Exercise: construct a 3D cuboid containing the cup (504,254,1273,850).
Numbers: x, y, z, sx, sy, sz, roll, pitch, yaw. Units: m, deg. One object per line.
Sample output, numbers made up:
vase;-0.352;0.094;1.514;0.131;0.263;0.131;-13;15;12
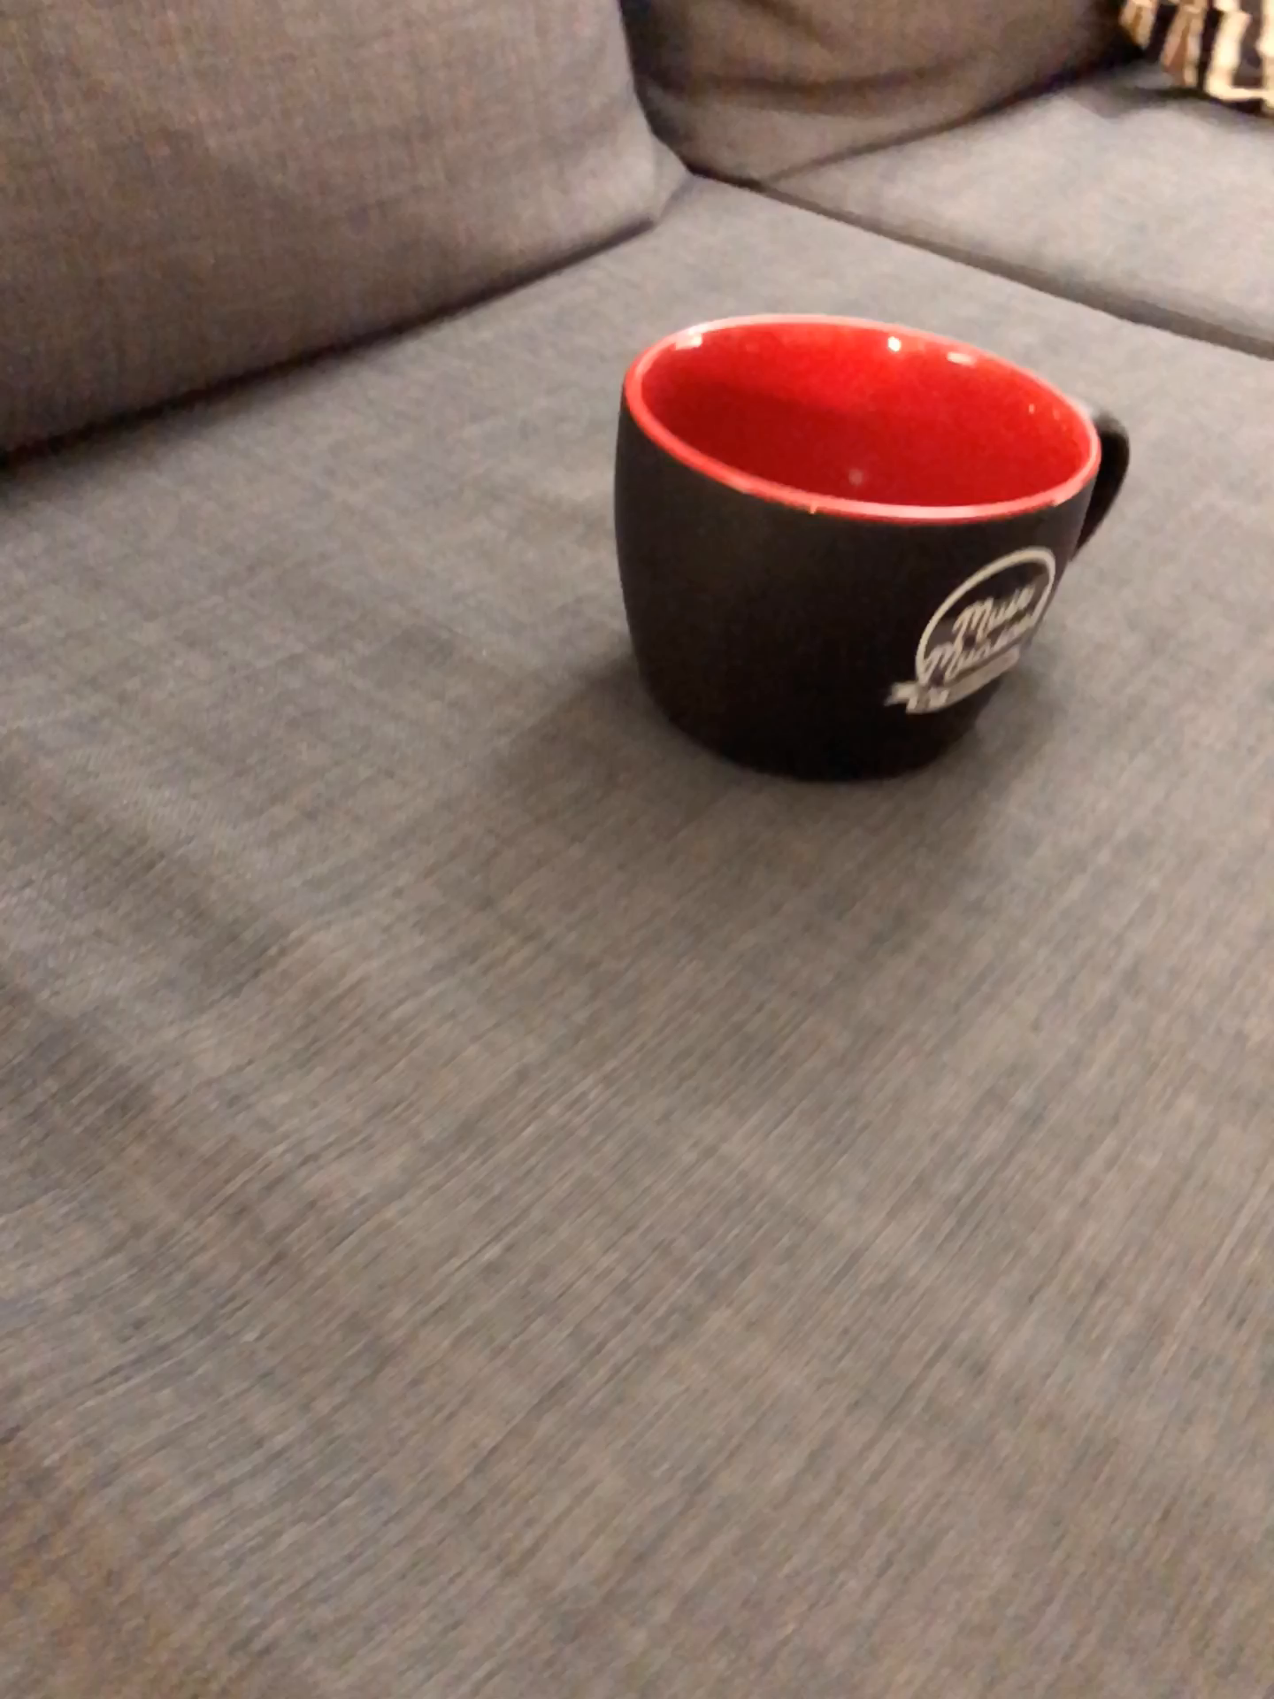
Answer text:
cup;0.064;-0.090;0.382;0.160;0.080;0.120;-20;46;-26
